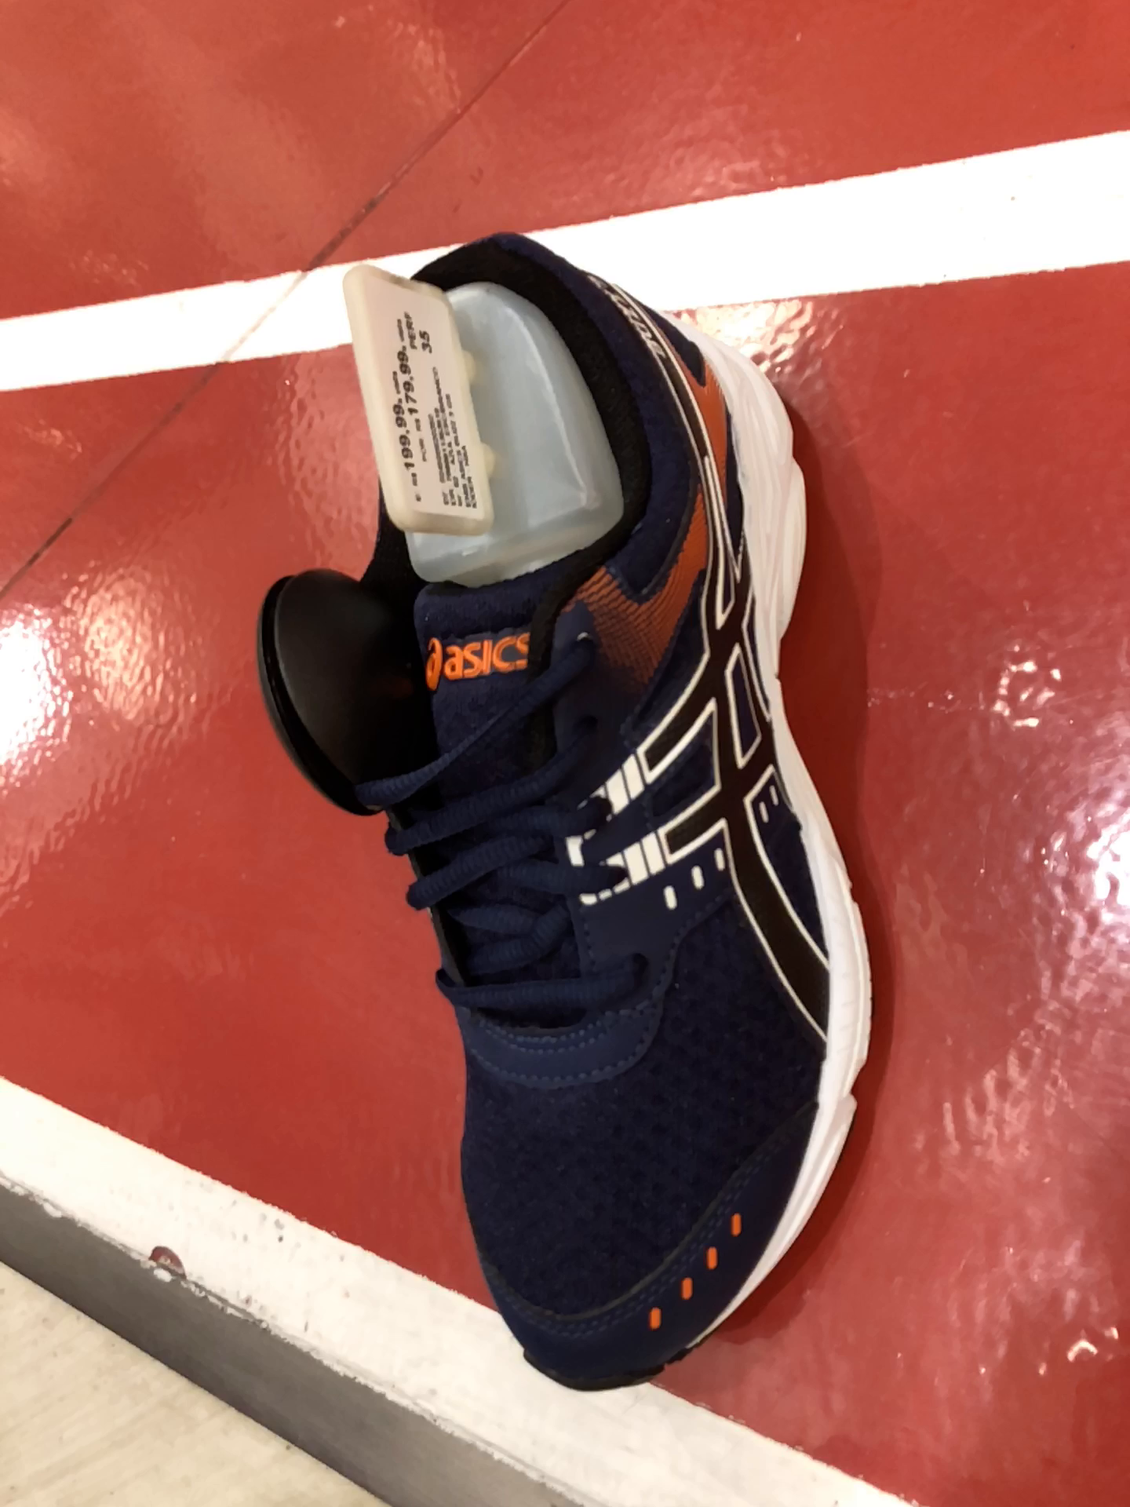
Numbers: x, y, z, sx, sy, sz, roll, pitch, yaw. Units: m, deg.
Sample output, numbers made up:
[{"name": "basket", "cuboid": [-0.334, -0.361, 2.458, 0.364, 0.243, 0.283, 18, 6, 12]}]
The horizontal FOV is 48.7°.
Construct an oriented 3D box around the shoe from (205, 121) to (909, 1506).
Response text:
[{"name": "shoe", "cuboid": [0.005, 0.013, 0.275, 0.100, 0.100, 0.240, -8, 73, 33]}]
